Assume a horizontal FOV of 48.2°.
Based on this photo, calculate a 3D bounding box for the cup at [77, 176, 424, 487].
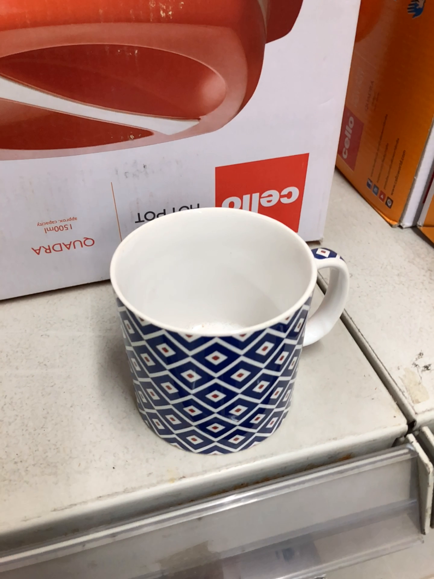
[{"bbox_3d":[0.006,0.013,0.208,0.110,0.079,0.080,-11,42,-12],"label":"cup"}]
